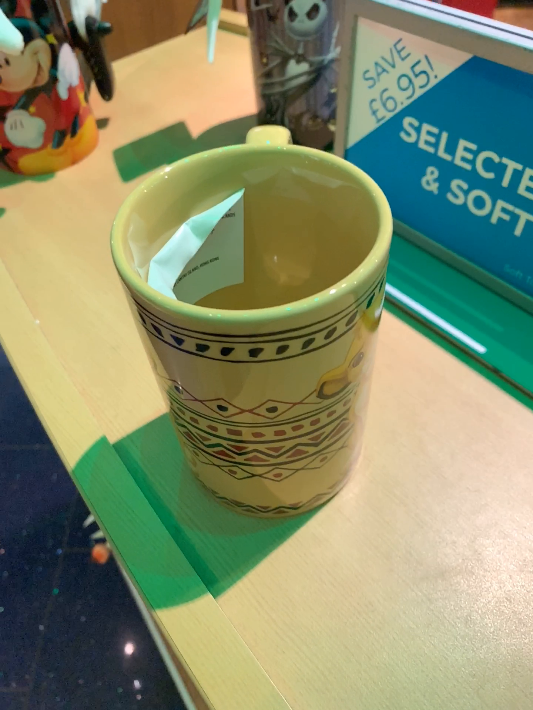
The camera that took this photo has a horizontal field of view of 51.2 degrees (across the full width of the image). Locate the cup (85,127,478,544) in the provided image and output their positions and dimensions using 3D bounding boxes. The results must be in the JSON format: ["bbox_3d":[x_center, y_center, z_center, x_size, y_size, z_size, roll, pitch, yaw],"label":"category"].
[{"bbox_3d":[0.003,-0.005,0.226,0.100,0.121,0.120,0,50,0],"label":"cup"}]
